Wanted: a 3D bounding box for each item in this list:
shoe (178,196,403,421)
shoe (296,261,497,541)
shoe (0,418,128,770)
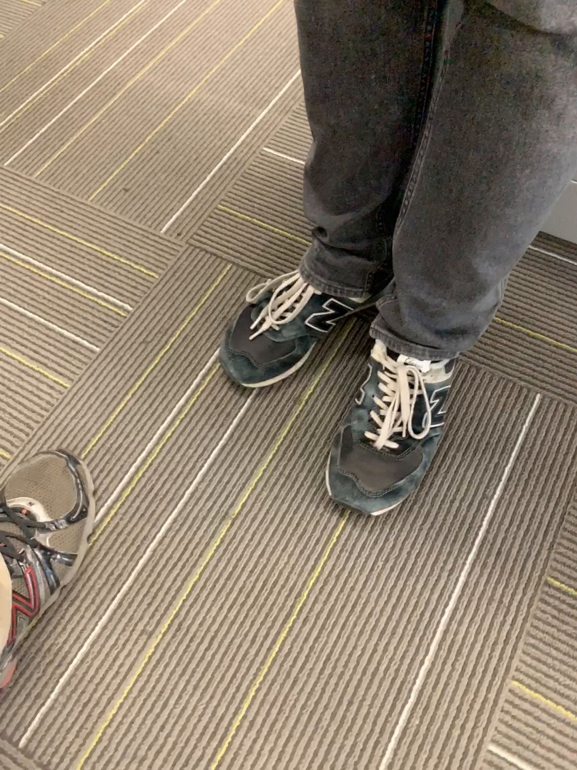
[{"bbox_3d":[0.010,-0.108,0.784,0.138,0.085,0.279,35,68,20],"label":"shoe"},{"bbox_3d":[0.135,0.008,0.725,0.131,0.087,0.316,21,64,14],"label":"shoe"},{"bbox_3d":[-0.301,0.210,0.619,0.134,0.087,0.328,10,61,9],"label":"shoe"}]
